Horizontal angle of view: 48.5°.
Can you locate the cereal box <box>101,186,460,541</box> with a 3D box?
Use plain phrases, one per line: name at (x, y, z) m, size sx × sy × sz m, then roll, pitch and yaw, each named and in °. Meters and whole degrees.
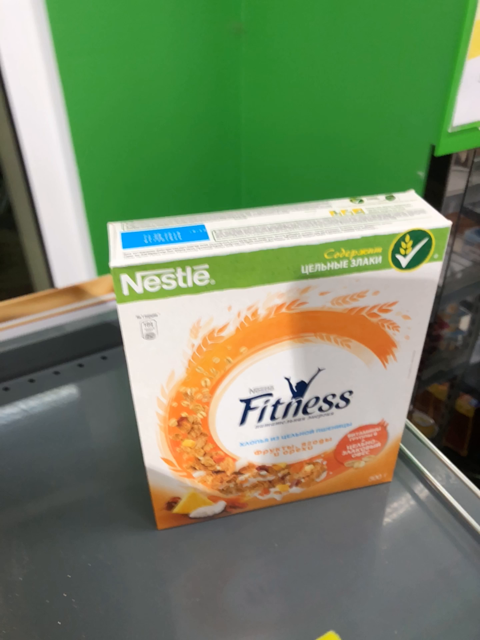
cereal box at (0.023, 0.040, 0.379) m, size 0.200 × 0.239 × 0.060 m, roll -8°, pitch 35°, yaw -10°
